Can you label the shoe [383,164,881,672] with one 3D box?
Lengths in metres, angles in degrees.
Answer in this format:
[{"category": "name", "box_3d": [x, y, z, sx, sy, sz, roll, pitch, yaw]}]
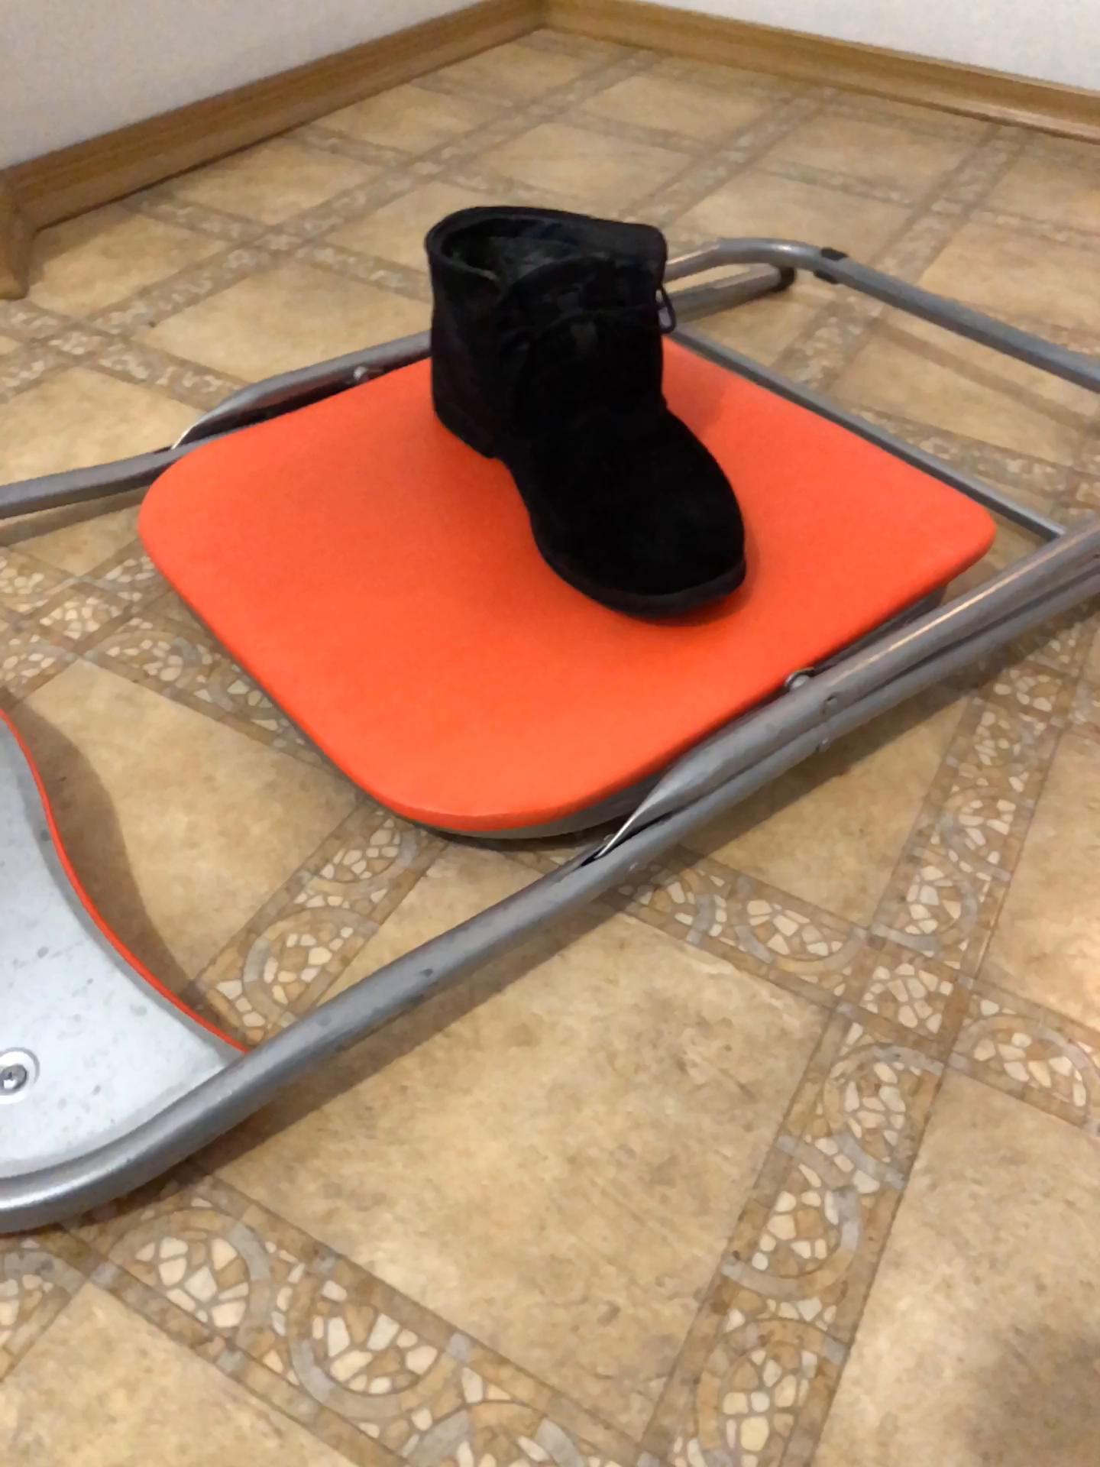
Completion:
[{"category": "shoe", "box_3d": [0.023, -0.176, 0.628, 0.110, 0.129, 0.271, -20, 48, -24]}]
